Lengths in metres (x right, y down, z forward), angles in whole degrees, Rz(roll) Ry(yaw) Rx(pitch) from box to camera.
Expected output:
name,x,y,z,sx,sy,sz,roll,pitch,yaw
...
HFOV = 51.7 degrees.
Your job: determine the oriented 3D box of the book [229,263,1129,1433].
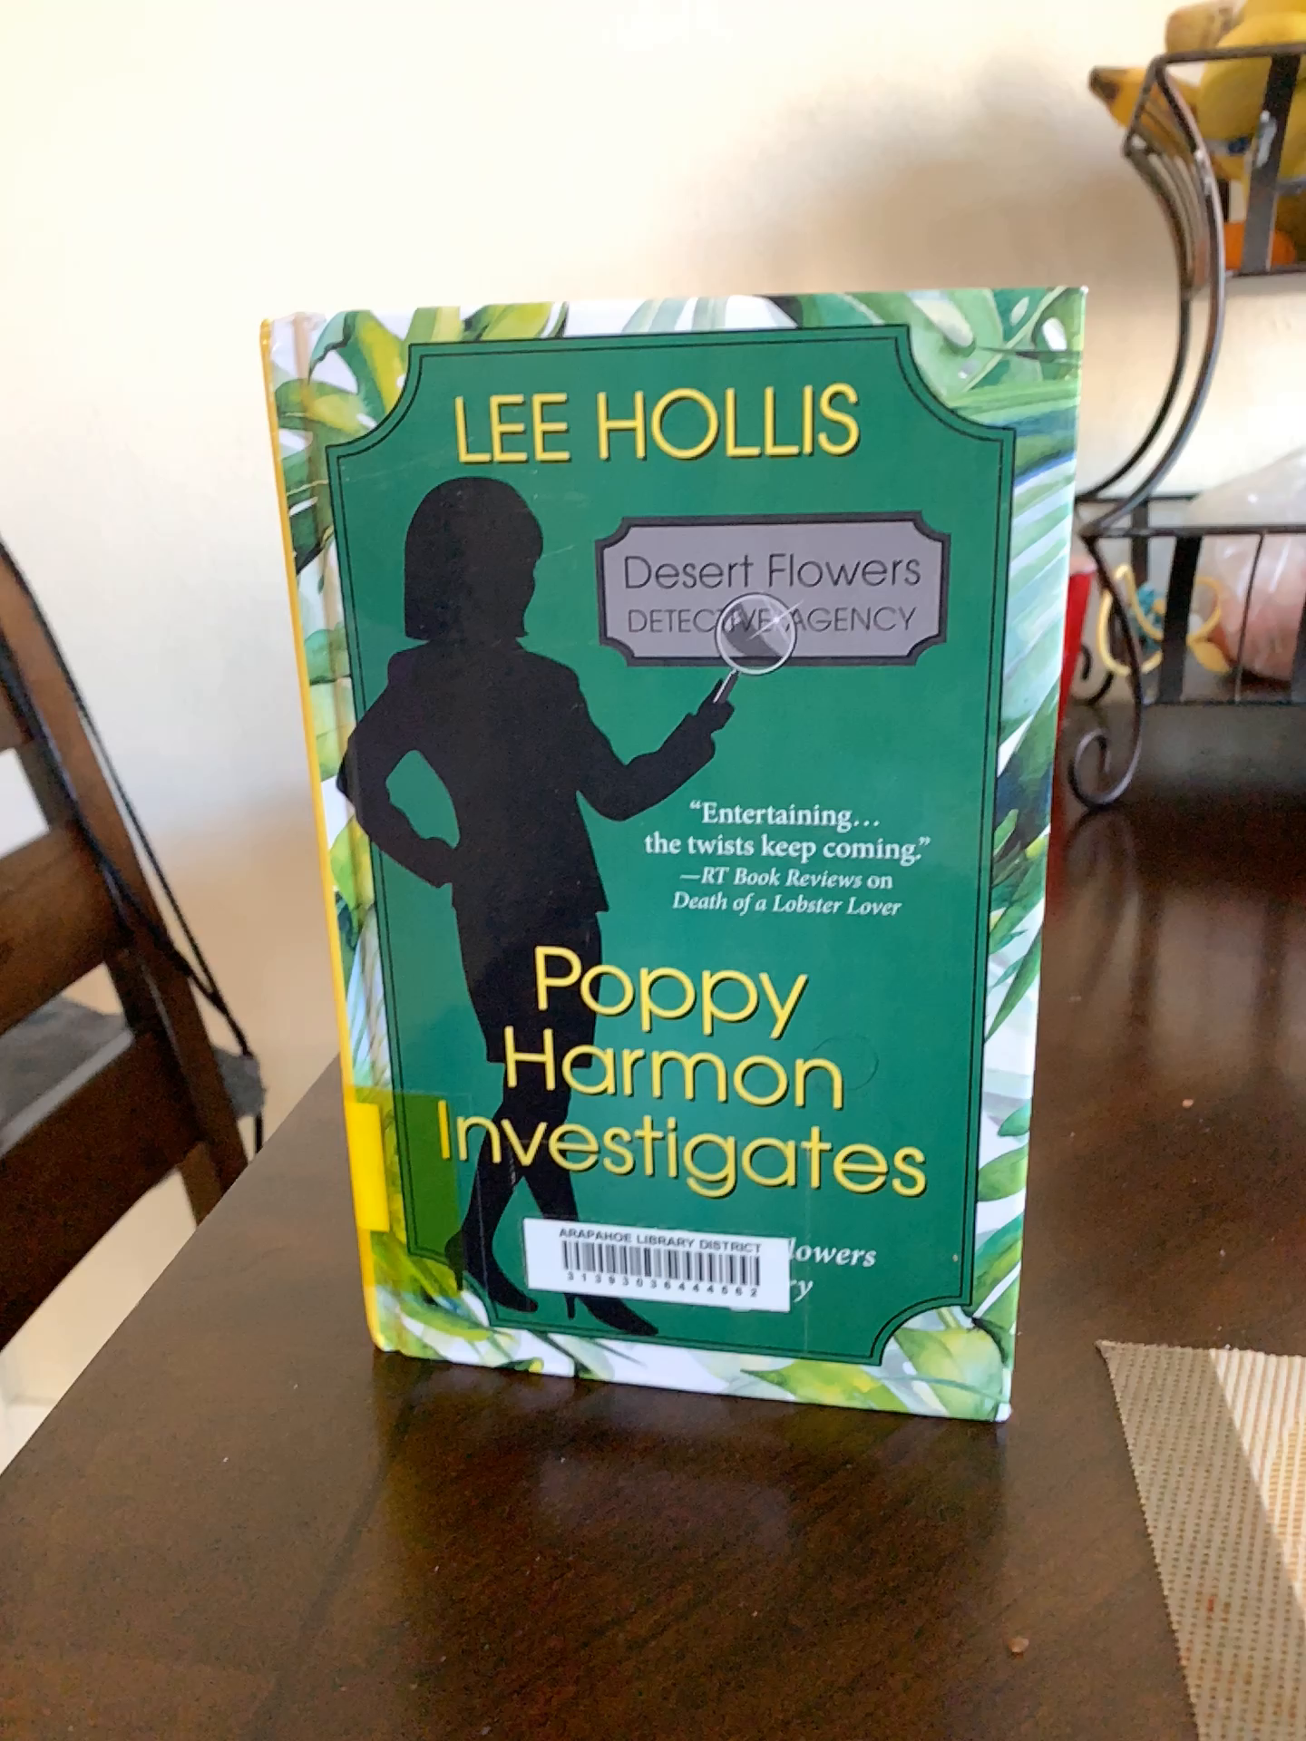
name,x,y,z,sx,sy,sz,roll,pitch,yaw
book,0.007,0.002,0.277,0.153,0.220,0.040,2,17,11
